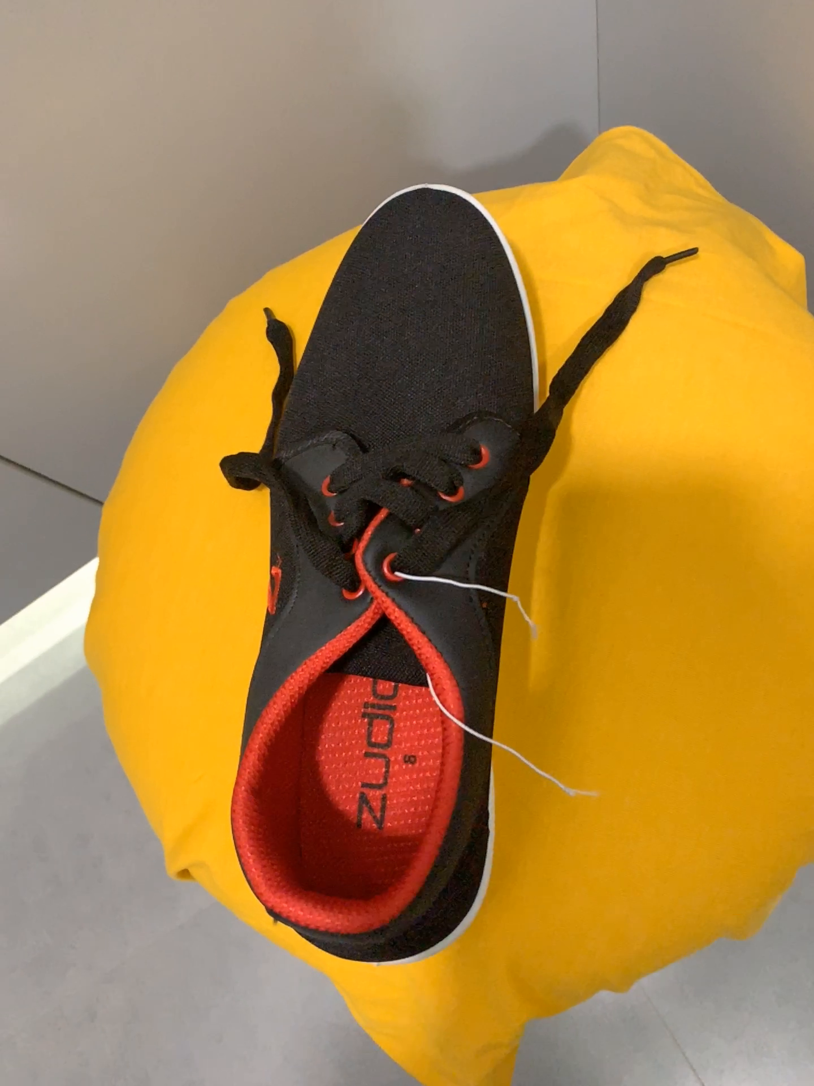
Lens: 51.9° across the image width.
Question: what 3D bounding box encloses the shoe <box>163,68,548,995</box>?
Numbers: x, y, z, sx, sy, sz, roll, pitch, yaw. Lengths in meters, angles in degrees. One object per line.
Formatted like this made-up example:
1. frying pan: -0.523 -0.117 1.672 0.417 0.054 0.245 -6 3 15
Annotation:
1. shoe: -0.003 -0.009 0.296 0.090 0.100 0.270 1 78 14
